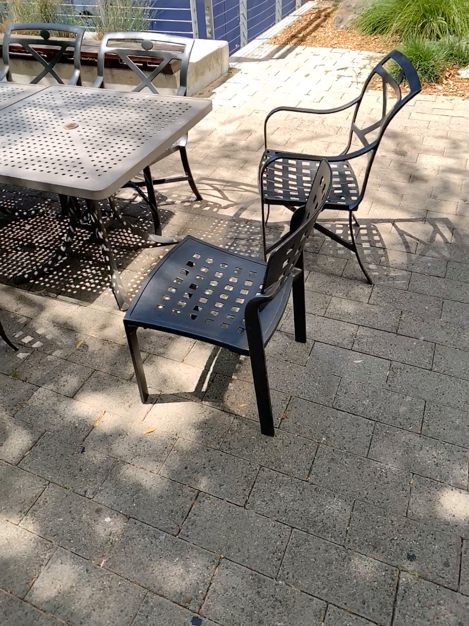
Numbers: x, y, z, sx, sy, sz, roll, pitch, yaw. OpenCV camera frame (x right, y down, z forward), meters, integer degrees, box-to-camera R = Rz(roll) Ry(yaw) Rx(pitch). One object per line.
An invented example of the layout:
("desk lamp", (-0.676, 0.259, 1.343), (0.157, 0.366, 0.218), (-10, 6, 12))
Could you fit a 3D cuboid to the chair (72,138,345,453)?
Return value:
("chair", (-0.029, -0.055, 1.460), (0.551, 0.716, 0.492), (13, 44, 16))
